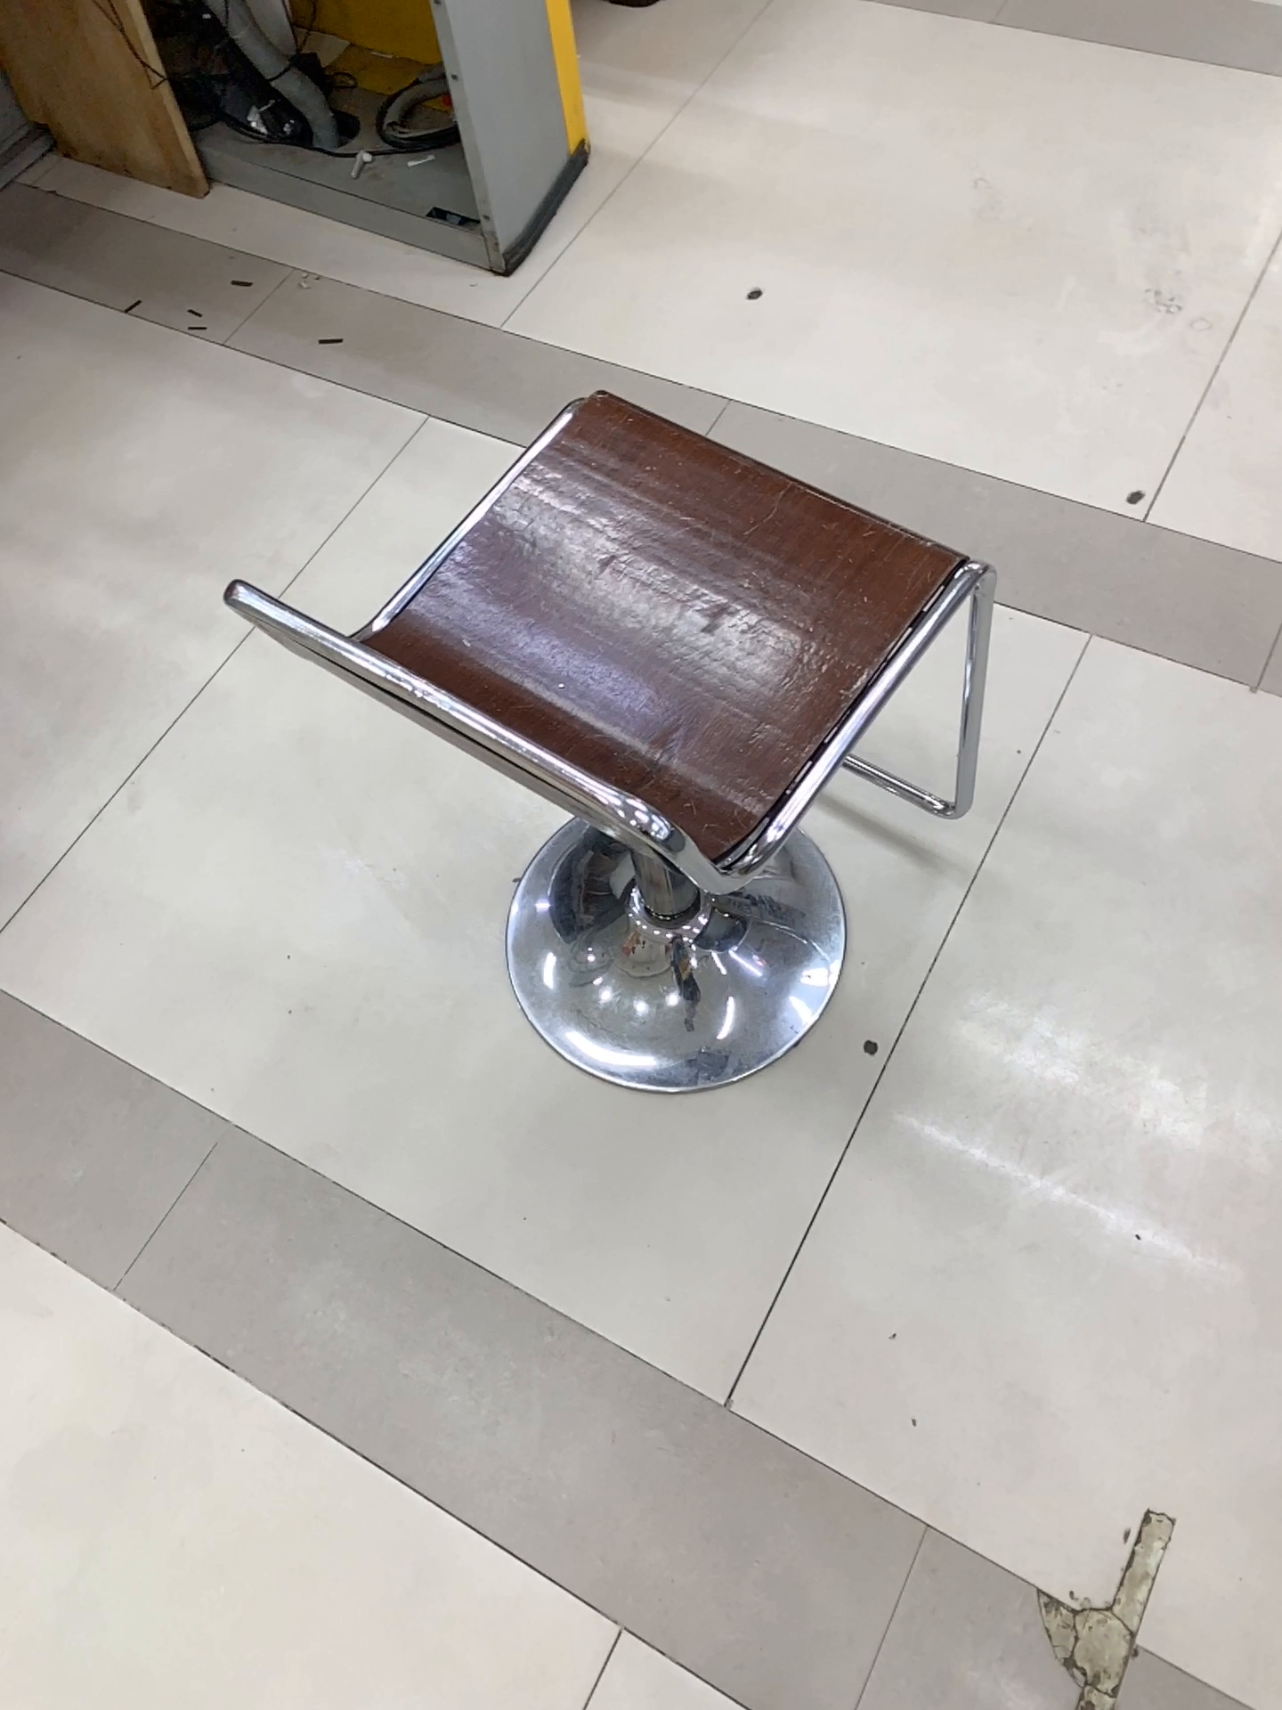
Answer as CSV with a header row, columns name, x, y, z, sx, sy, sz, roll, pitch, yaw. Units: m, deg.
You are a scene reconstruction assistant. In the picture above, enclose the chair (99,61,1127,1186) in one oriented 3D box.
name,x,y,z,sx,sy,sz,roll,pitch,yaw
chair,0.019,-0.138,1.109,0.441,0.706,0.481,30,67,21
